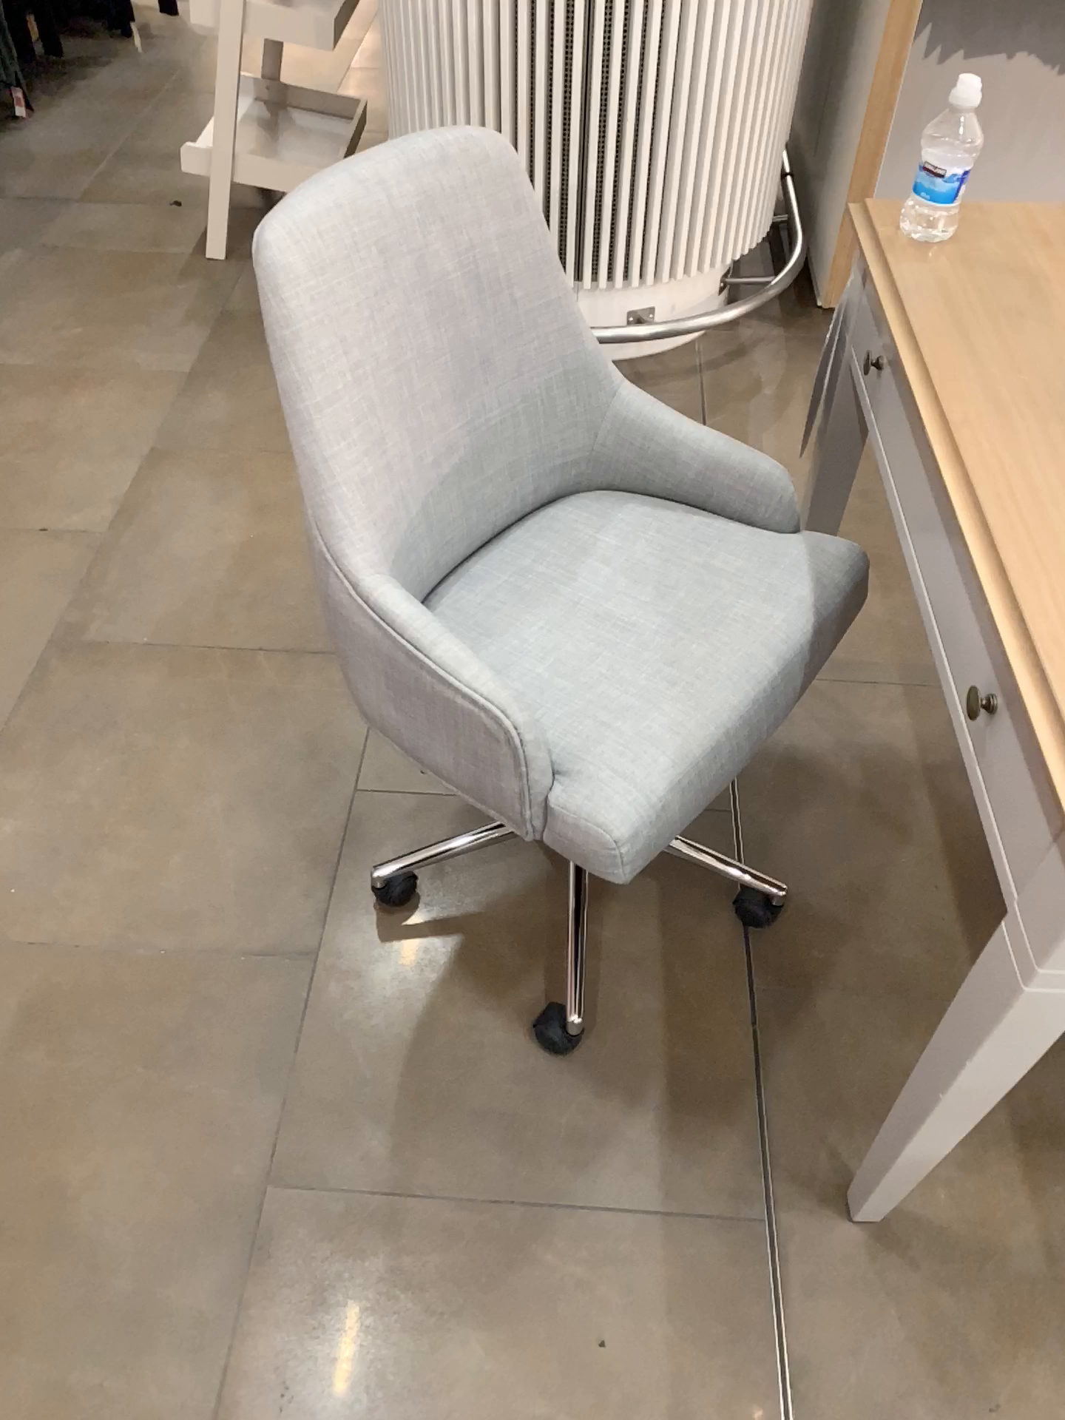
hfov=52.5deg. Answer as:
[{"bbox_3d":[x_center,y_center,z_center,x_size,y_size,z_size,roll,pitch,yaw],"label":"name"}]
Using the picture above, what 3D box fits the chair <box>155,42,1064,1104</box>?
[{"bbox_3d":[0.112,-0.153,1.289,0.638,0.891,0.628,32,54,26],"label":"chair"}]
